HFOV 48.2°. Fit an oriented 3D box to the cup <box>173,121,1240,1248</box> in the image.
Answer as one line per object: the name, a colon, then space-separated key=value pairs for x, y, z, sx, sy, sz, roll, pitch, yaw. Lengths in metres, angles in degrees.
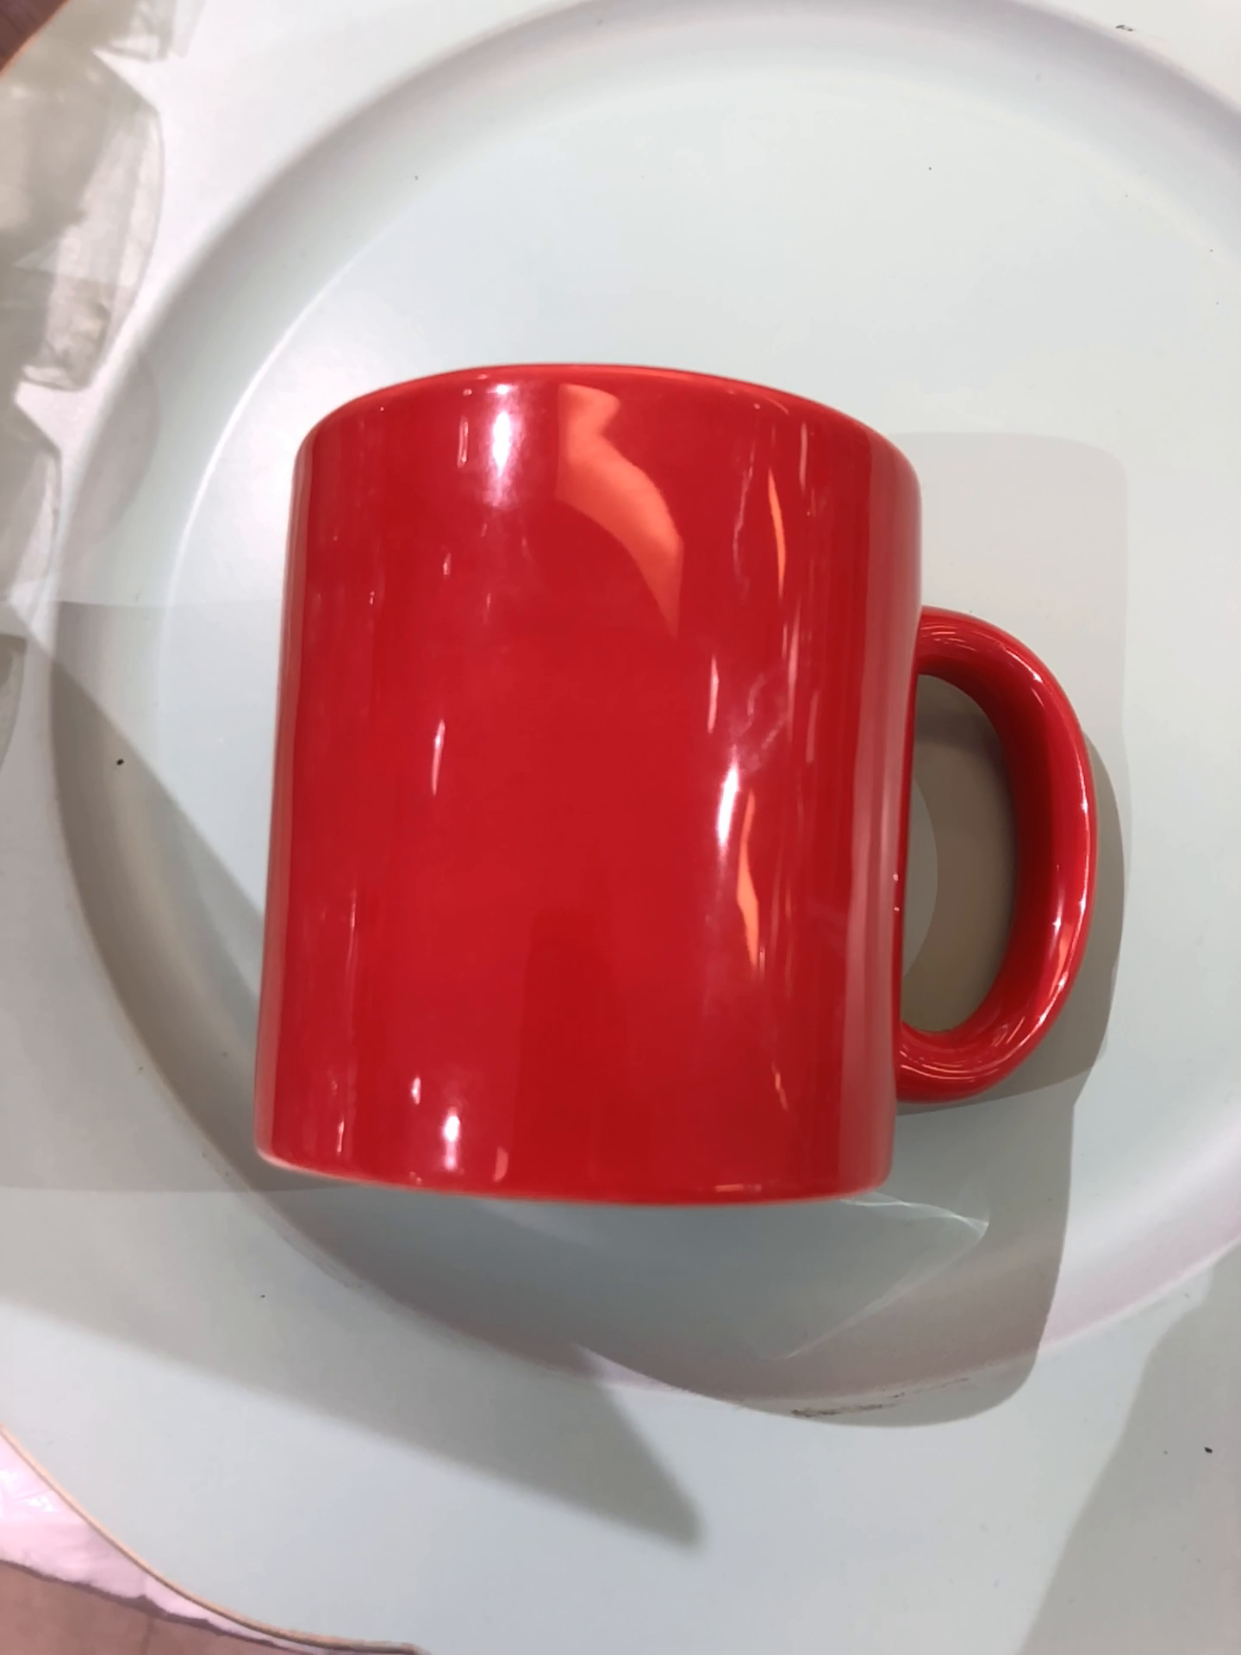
cup: x=0.009 y=-0.007 z=0.168 sx=0.110 sy=0.060 sz=0.100 roll=3 pitch=81 yaw=-23
